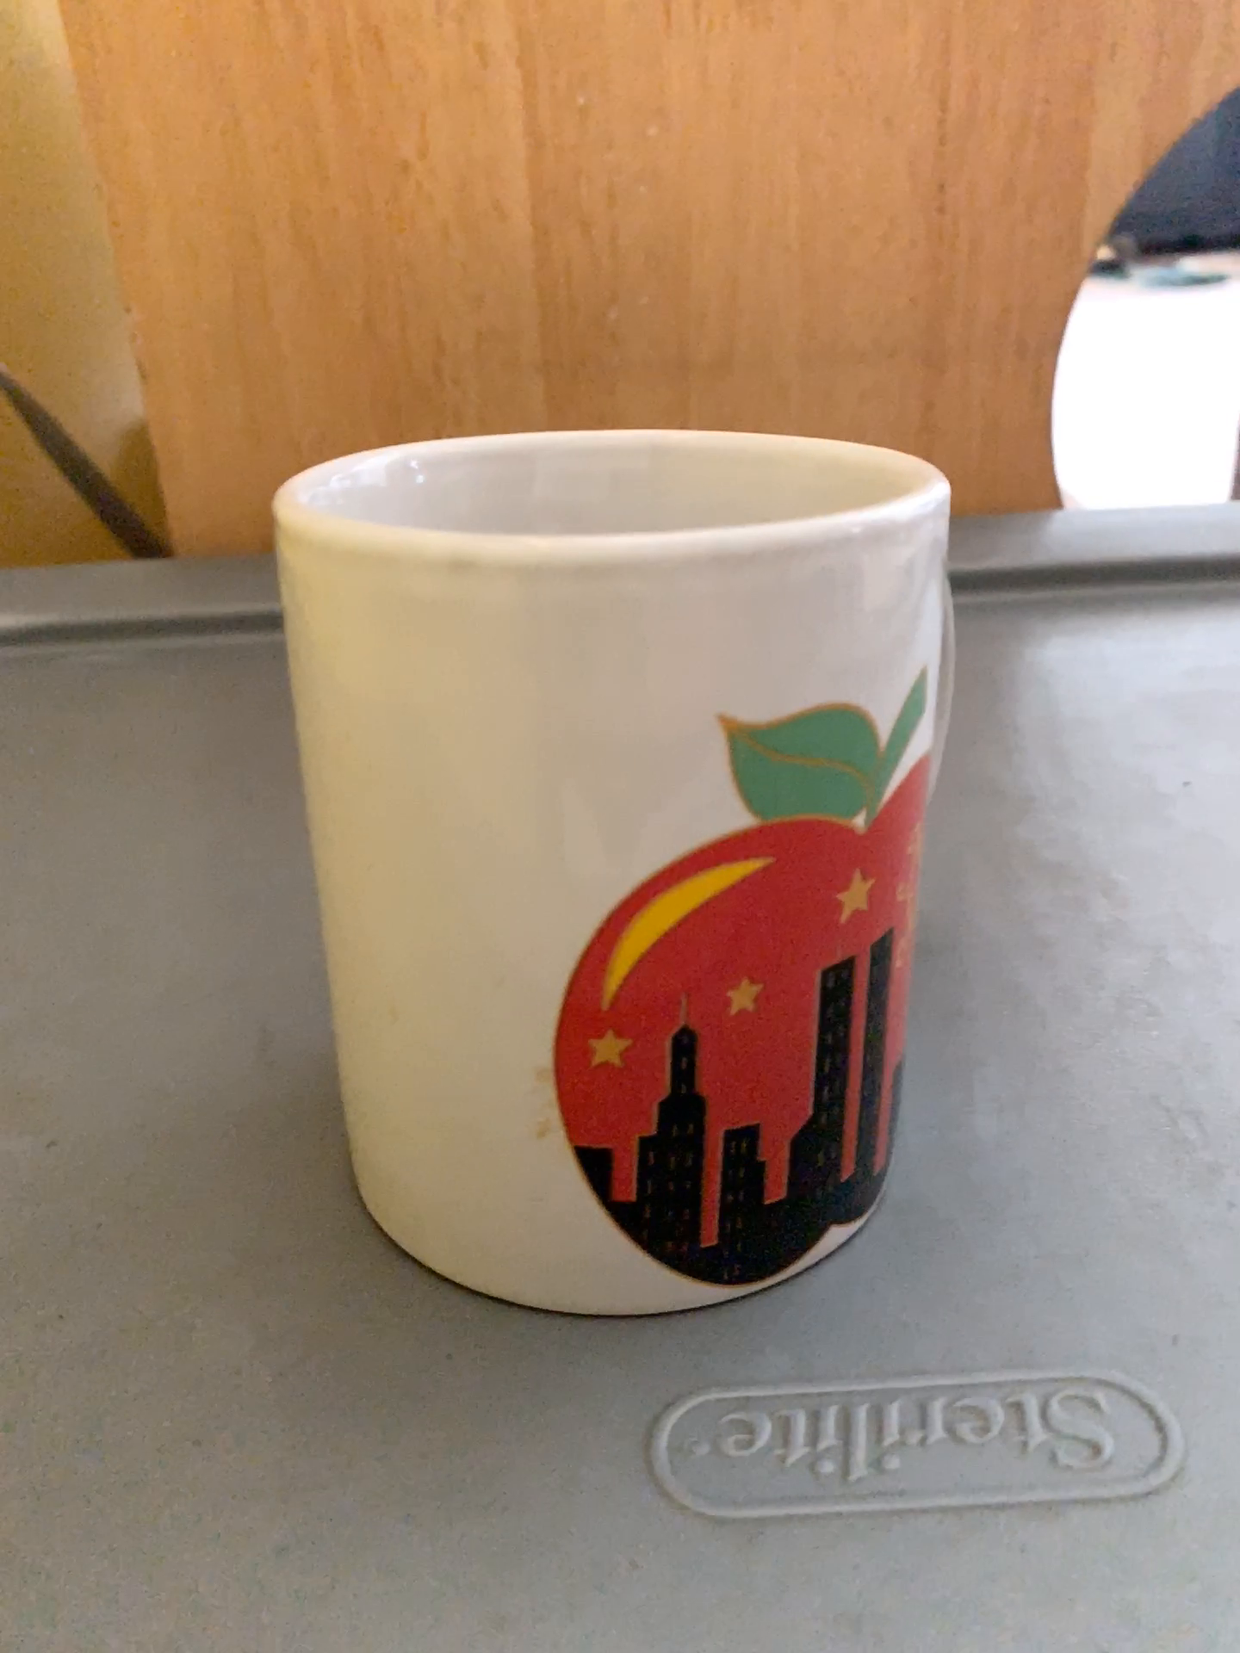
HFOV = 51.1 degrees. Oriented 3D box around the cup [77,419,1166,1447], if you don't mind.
[{"bbox_3d":[0.004,-0.004,0.198,0.097,0.095,0.118,20,30,39],"label":"cup"}]
